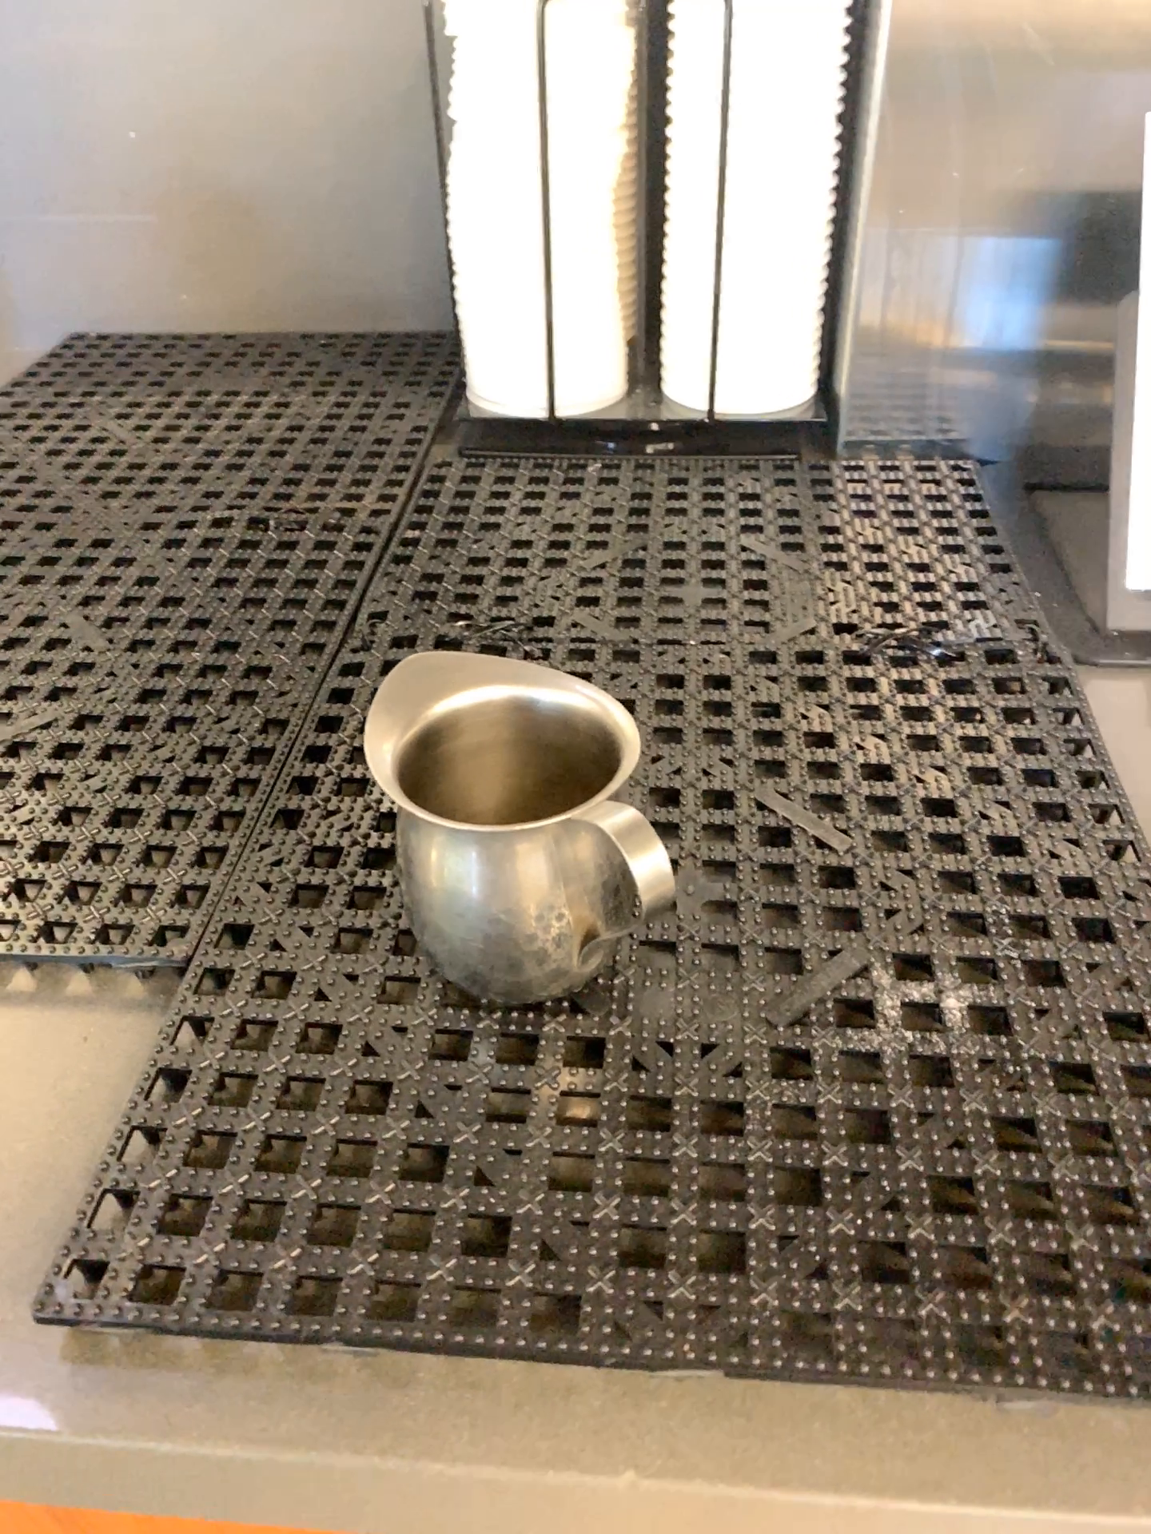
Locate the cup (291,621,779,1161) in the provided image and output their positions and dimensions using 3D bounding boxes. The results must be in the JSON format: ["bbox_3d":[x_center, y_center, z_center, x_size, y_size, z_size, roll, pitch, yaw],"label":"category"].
[{"bbox_3d":[-0.013,0.025,0.310,0.070,0.070,0.111,-24,42,-26],"label":"cup"}]
